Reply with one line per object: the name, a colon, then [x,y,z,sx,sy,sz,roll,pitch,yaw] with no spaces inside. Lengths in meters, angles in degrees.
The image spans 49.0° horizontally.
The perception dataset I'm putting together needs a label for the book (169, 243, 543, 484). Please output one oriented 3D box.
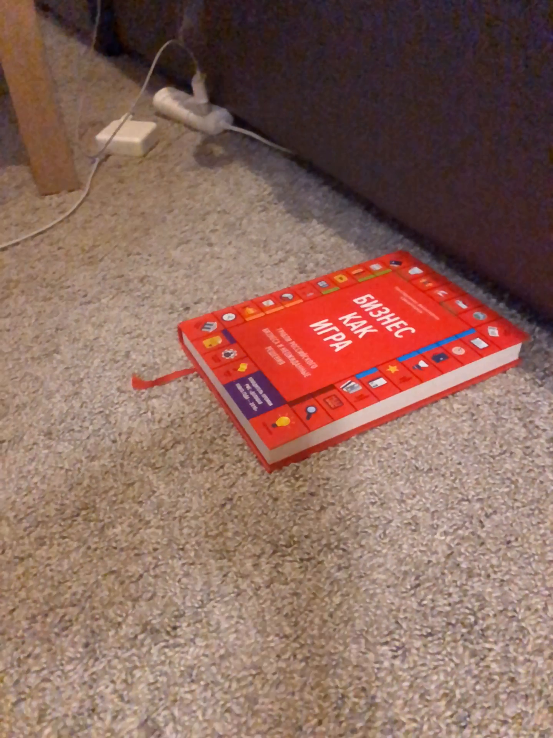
book: [0.061,-0.024,0.509,0.247,0.033,0.180,-20,43,-22]
